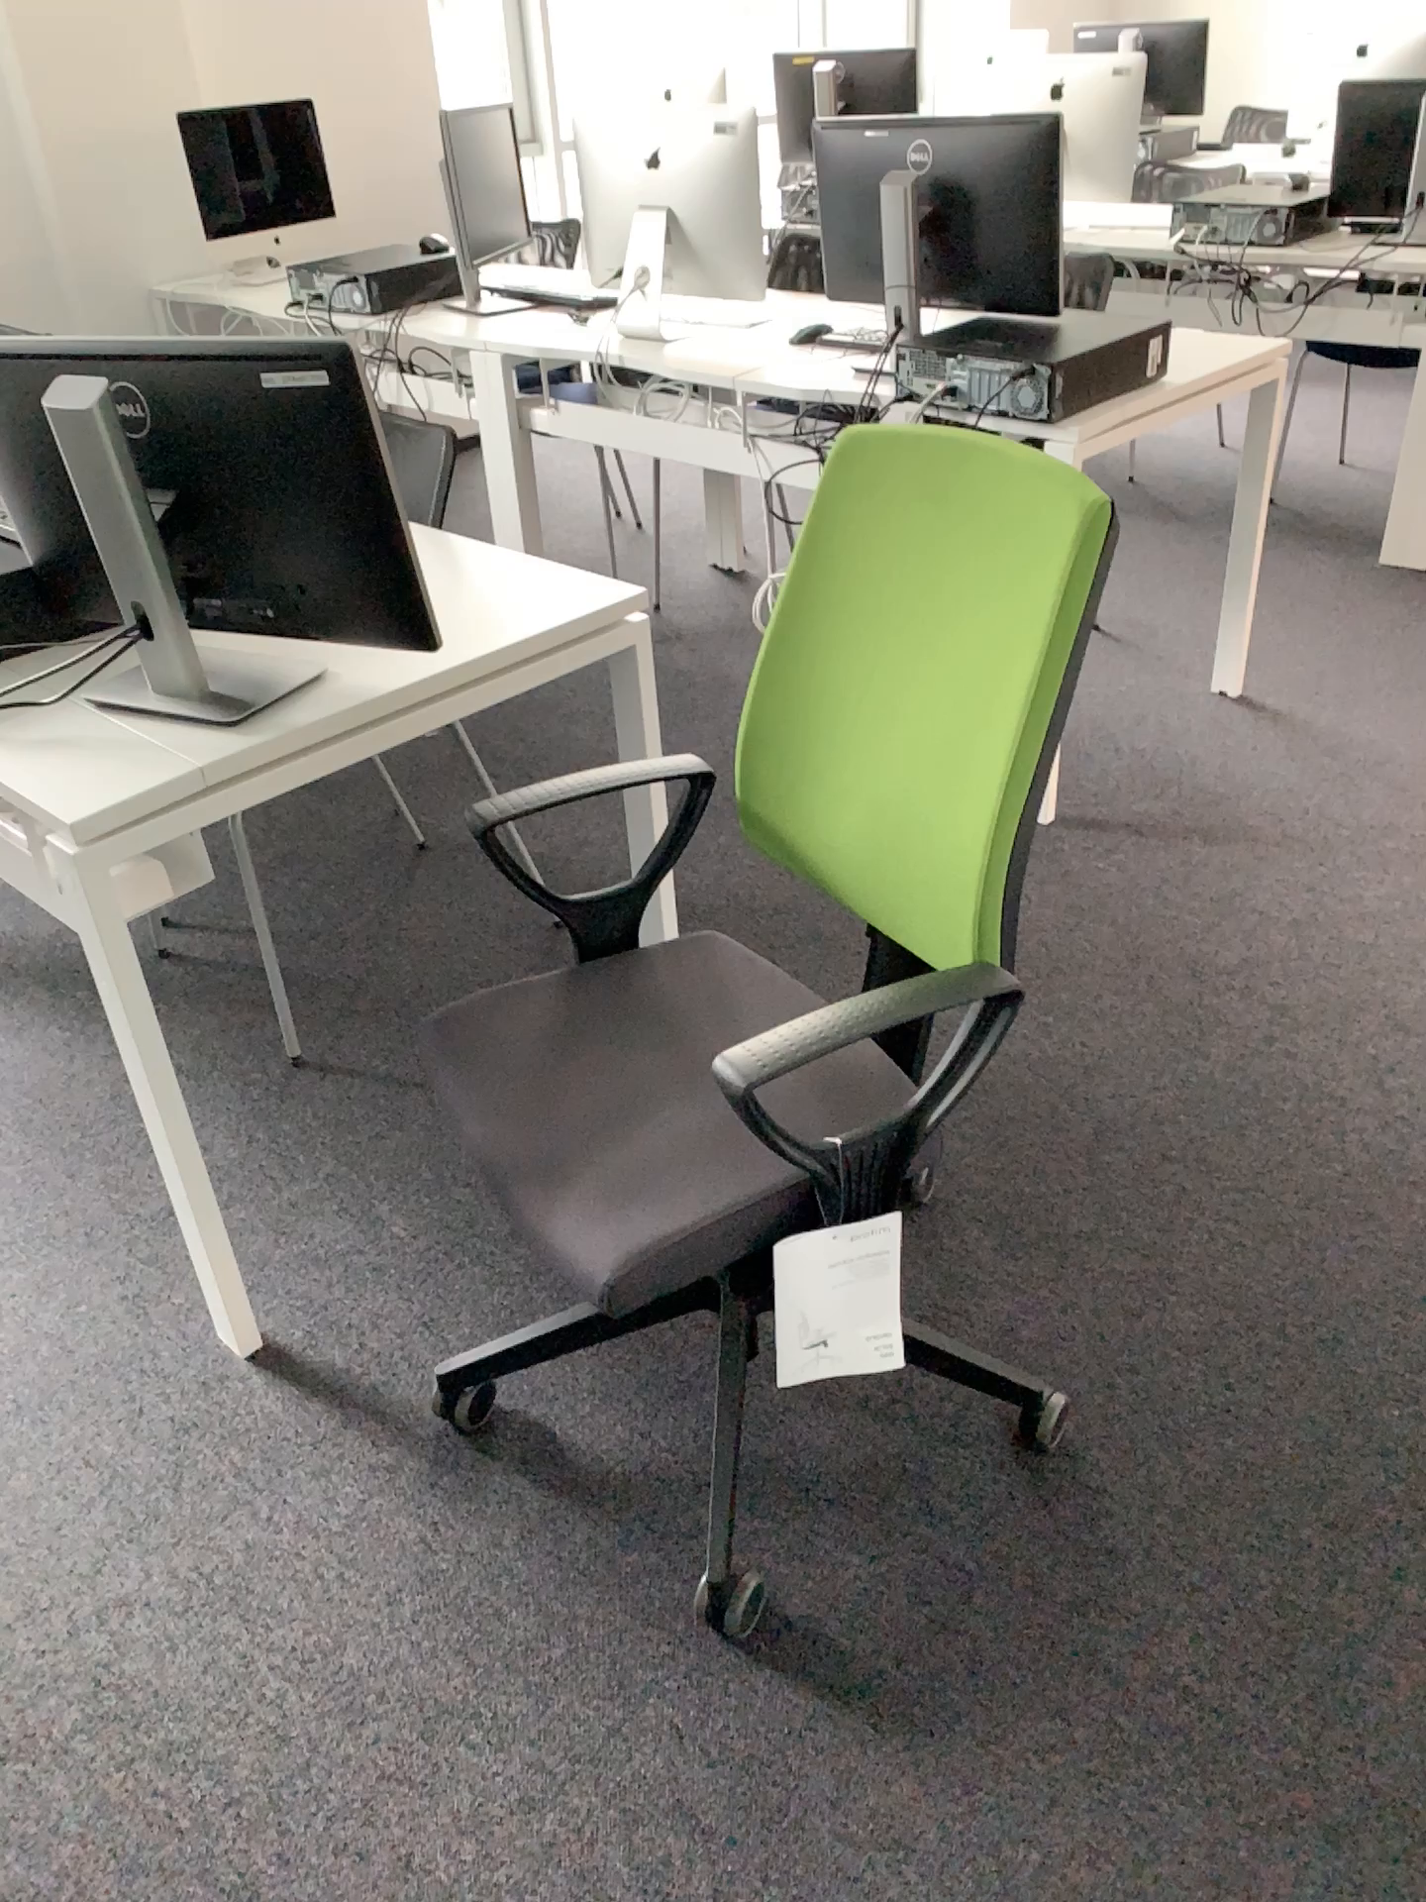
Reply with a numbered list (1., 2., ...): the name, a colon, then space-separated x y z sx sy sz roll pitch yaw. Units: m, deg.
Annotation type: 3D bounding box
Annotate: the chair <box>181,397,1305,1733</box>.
1. chair: 0.028 0.070 1.540 0.761 1.044 0.622 -21 37 -26
